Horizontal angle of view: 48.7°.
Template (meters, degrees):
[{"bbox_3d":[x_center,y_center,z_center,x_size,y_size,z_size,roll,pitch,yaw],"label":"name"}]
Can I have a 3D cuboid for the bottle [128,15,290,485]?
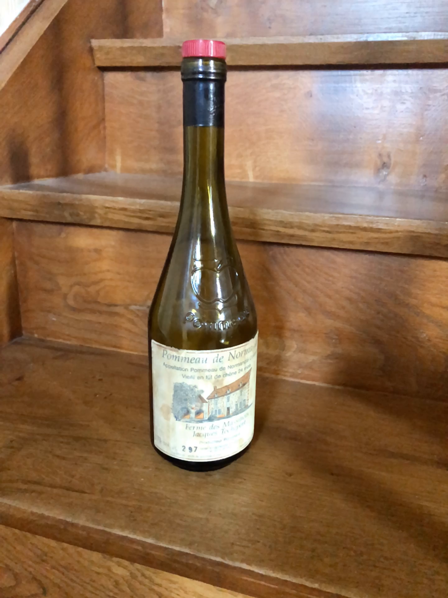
[{"bbox_3d":[-0.019,-0.026,0.372,0.090,0.309,0.090,1,17,0],"label":"bottle"}]
